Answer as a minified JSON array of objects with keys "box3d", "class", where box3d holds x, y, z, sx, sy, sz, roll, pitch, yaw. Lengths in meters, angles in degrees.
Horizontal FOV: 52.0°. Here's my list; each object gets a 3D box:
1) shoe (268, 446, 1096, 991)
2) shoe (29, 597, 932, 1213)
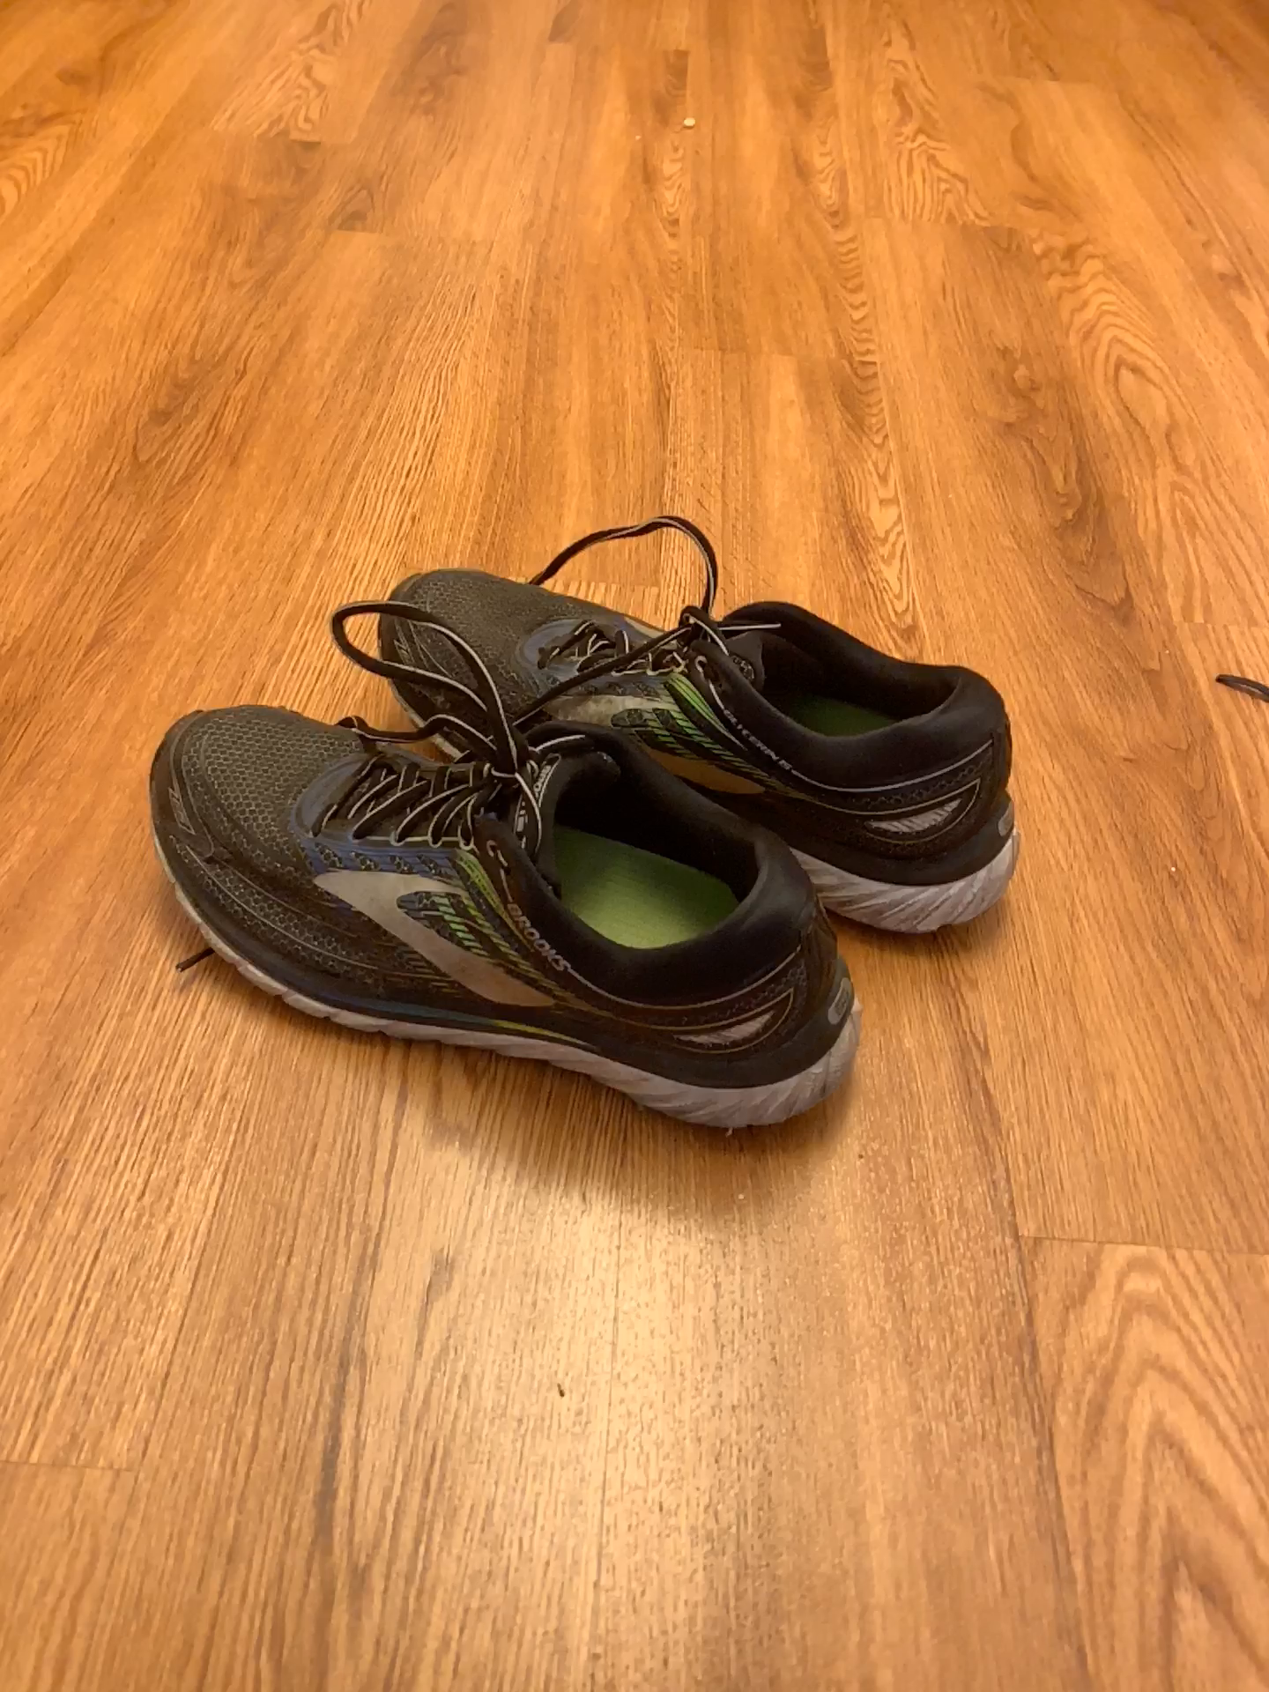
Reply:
[{"box3d":[0.018,-0.066,0.604,0.340,0.109,0.121,18,49,12],"class":"shoe"},{"box3d":[-0.060,0.017,0.527,0.320,0.109,0.110,18,49,12],"class":"shoe"}]
